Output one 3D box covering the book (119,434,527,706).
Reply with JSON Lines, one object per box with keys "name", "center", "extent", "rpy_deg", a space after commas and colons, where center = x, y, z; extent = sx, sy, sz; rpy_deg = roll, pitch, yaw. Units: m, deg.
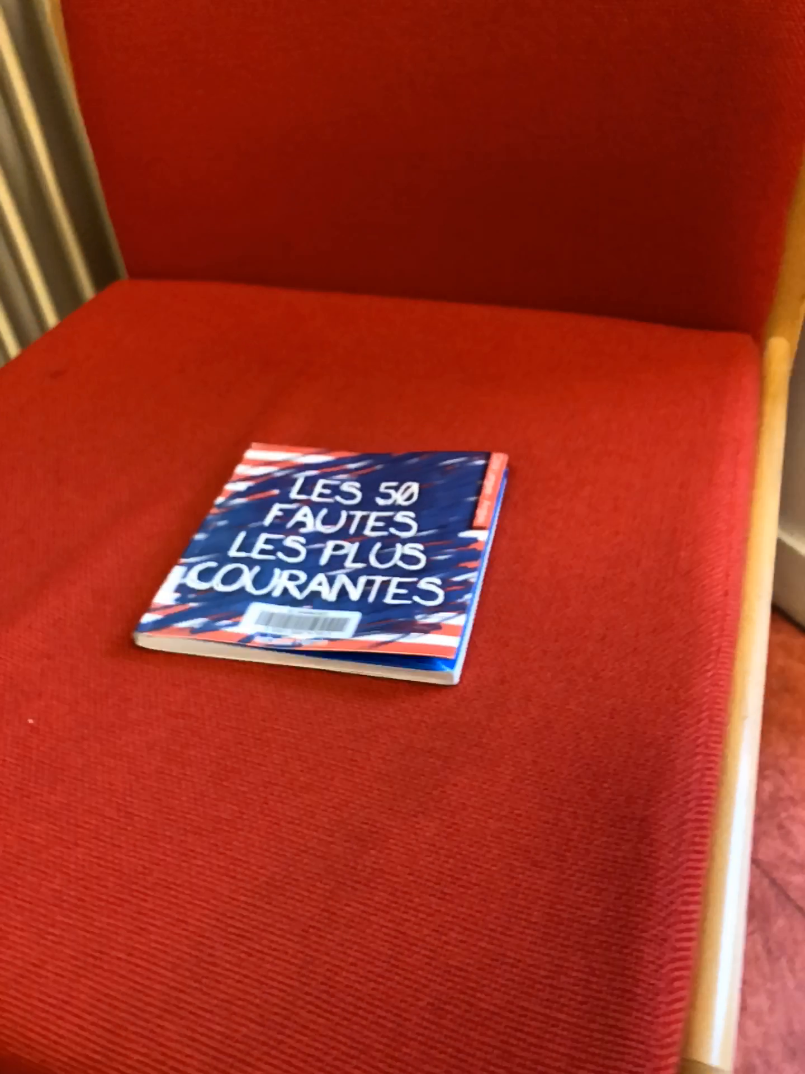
{"name": "book", "center": [-0.027, 0.005, 0.414], "extent": [0.148, 0.020, 0.149], "rpy_deg": [6, 39, 13]}
